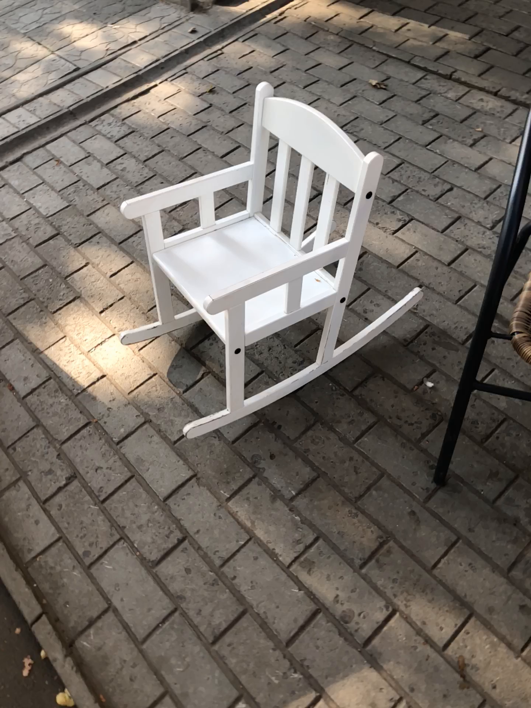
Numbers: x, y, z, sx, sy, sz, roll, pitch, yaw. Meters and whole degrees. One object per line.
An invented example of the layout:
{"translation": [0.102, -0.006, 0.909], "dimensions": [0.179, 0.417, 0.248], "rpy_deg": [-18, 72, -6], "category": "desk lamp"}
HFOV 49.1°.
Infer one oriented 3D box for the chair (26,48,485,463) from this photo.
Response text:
{"translation": [0.000, -0.237, 1.271], "dimensions": [0.750, 0.458, 0.441], "rpy_deg": [-32, 55, -18], "category": "chair"}
